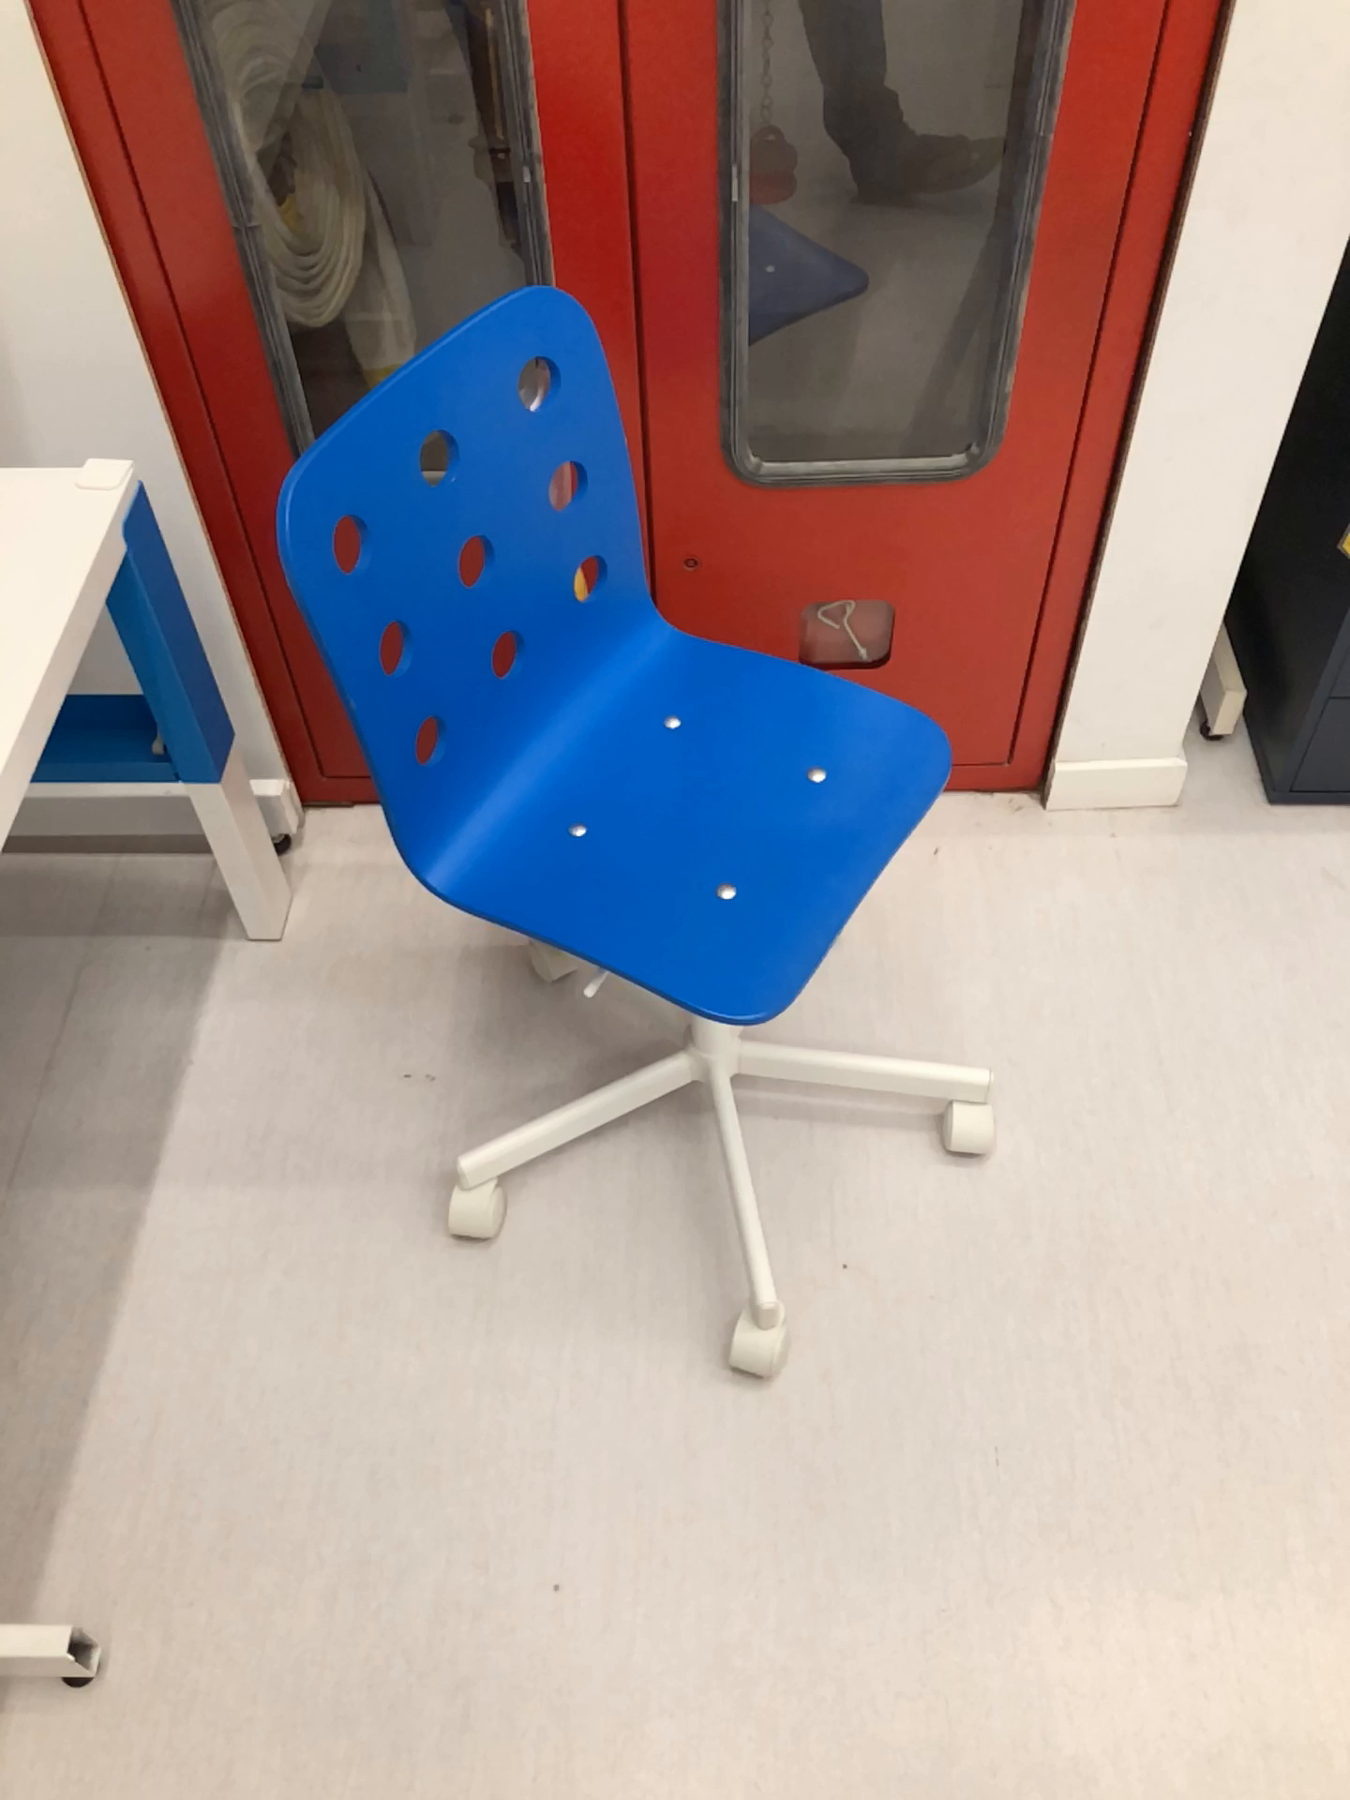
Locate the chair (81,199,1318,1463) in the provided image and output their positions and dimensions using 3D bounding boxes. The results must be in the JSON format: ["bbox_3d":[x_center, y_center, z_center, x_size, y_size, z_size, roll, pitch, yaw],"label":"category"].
[{"bbox_3d":[0.048,-0.058,1.169,0.561,0.626,0.572,24,56,21],"label":"chair"}]
